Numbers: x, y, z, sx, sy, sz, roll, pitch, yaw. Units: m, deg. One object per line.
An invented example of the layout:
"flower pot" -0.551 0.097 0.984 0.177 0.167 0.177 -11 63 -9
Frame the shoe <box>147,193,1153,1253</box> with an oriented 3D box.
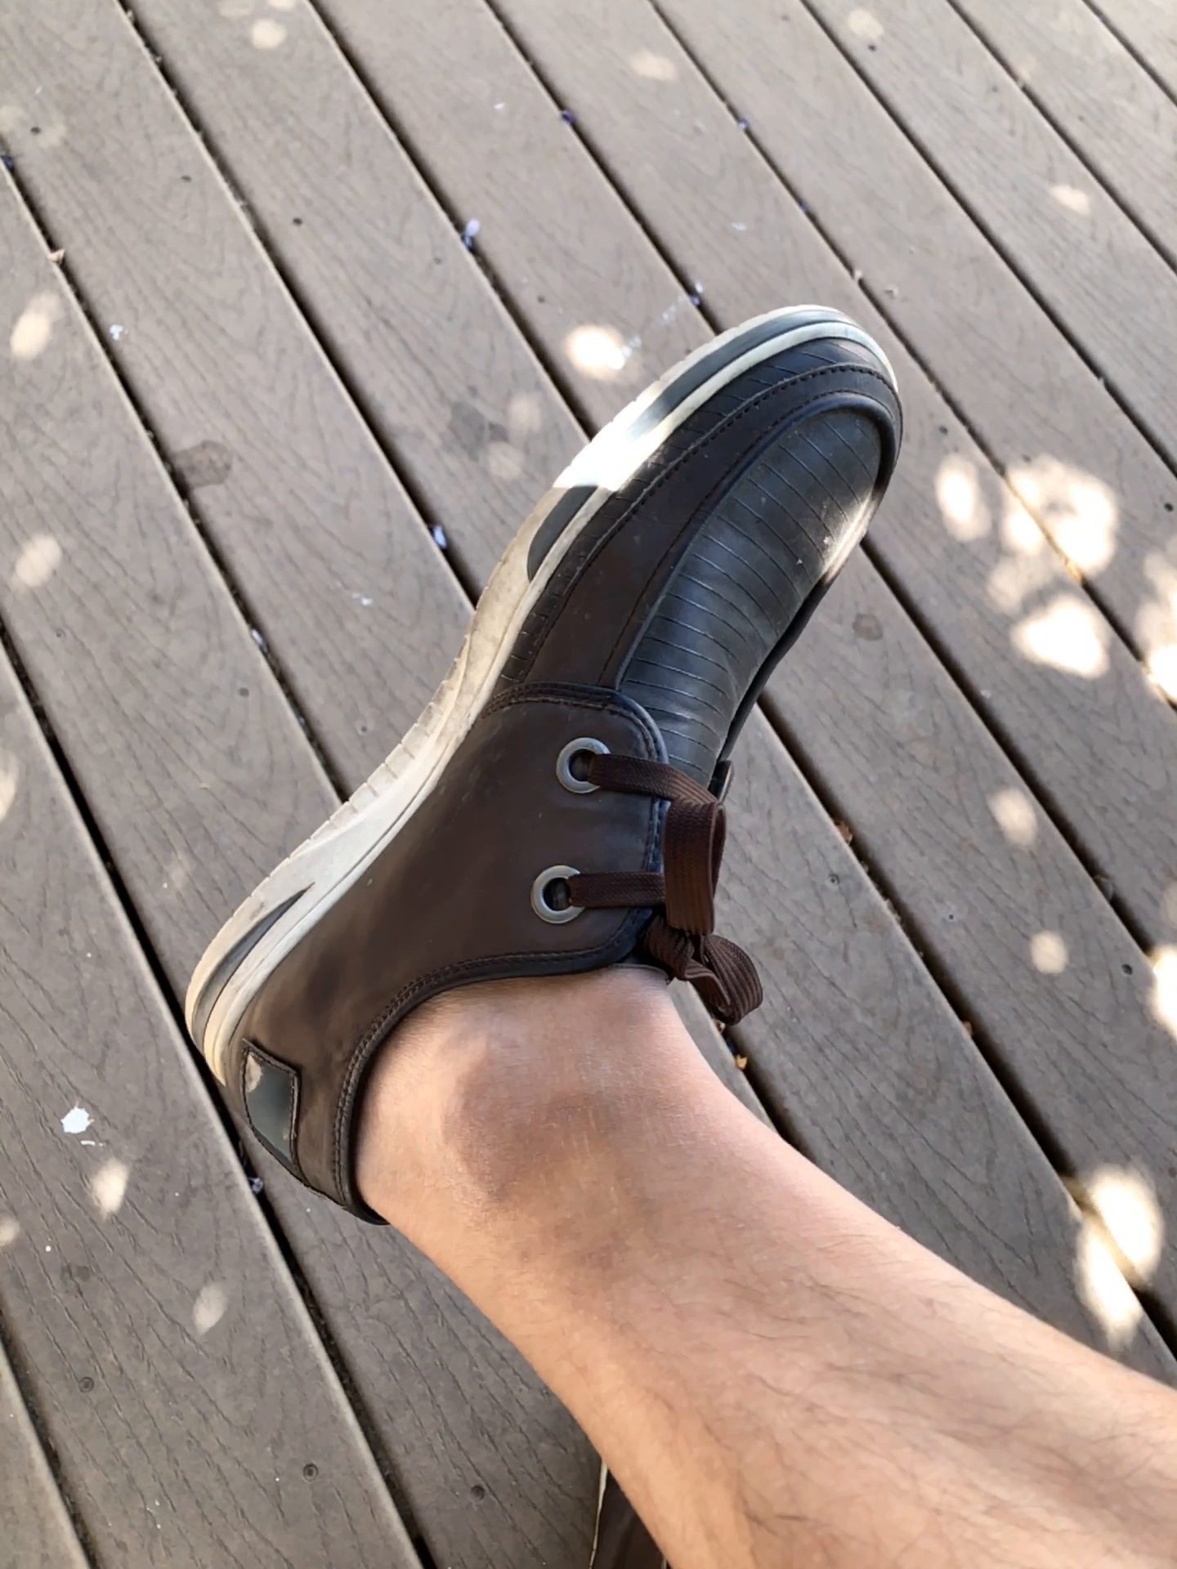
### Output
"shoe" 0.009 -0.001 0.363 0.275 0.103 0.092 -50 54 14
